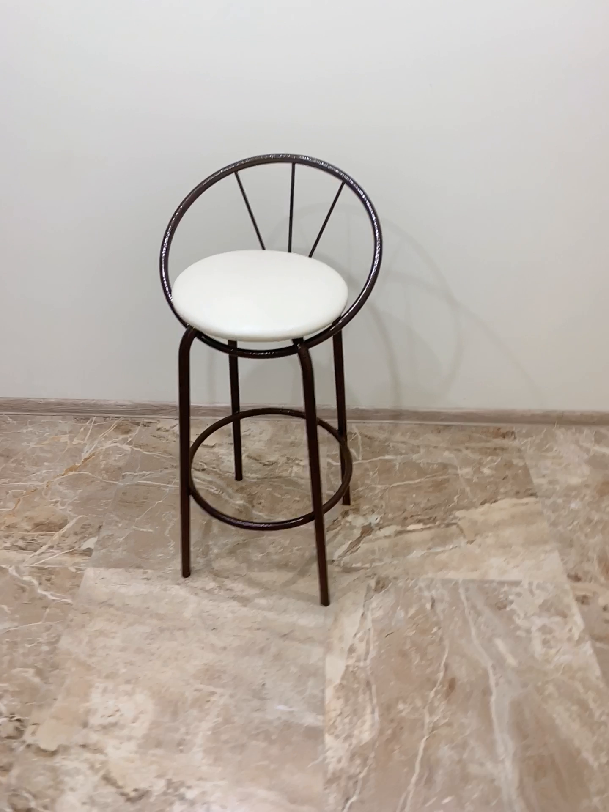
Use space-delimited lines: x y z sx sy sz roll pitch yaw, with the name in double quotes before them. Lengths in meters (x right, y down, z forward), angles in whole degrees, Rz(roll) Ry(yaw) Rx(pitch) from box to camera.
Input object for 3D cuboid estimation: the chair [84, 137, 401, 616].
"chair" -0.072 -0.033 1.248 0.400 0.835 0.402 9 39 10
